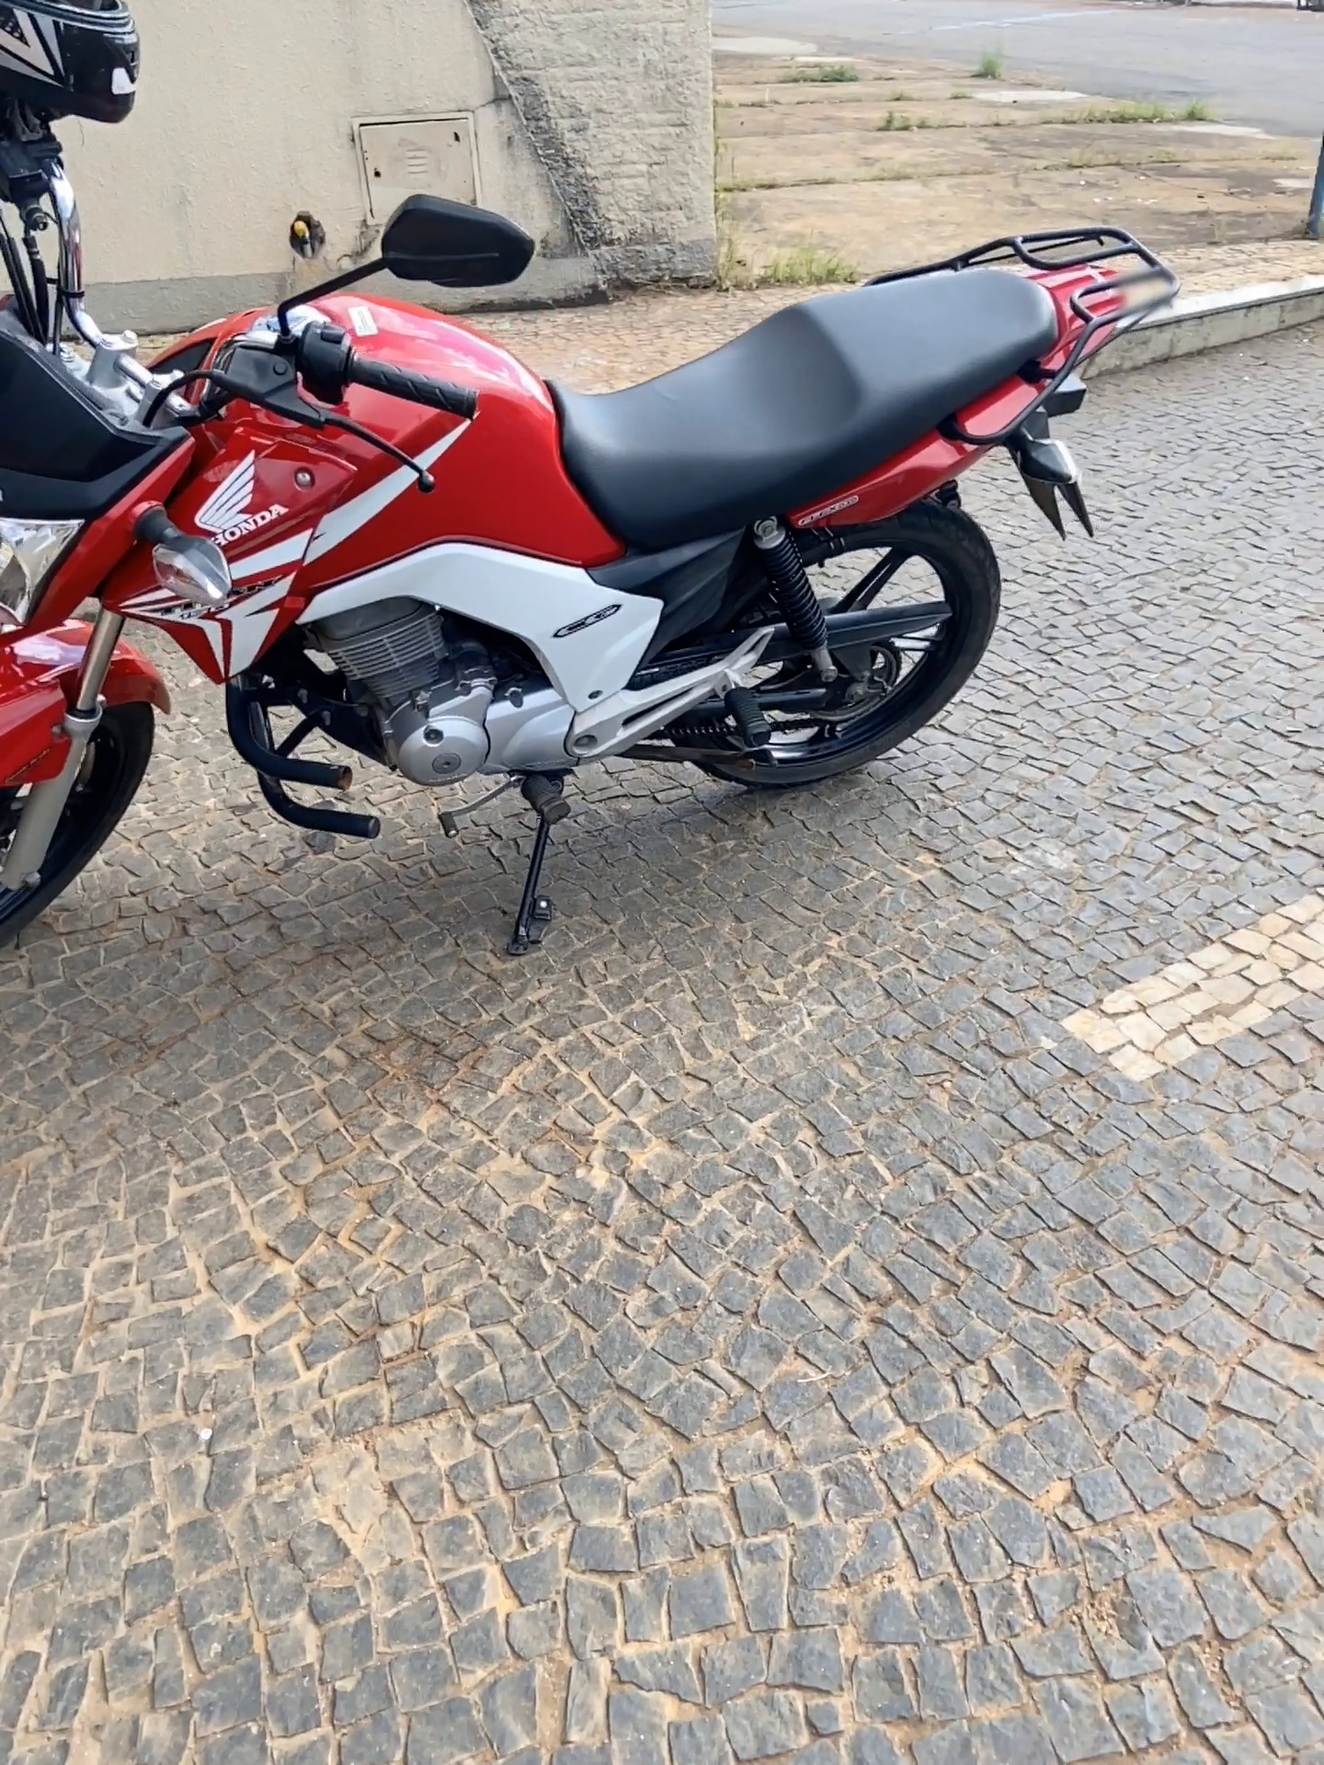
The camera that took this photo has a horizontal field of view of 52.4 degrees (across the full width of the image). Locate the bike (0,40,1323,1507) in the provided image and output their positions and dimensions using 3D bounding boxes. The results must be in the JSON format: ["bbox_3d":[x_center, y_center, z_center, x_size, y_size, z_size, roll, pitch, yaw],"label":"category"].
[{"bbox_3d":[-0.183,-0.361,1.958,2.074,1.382,0.812,-21,37,-26],"label":"bike"}]
